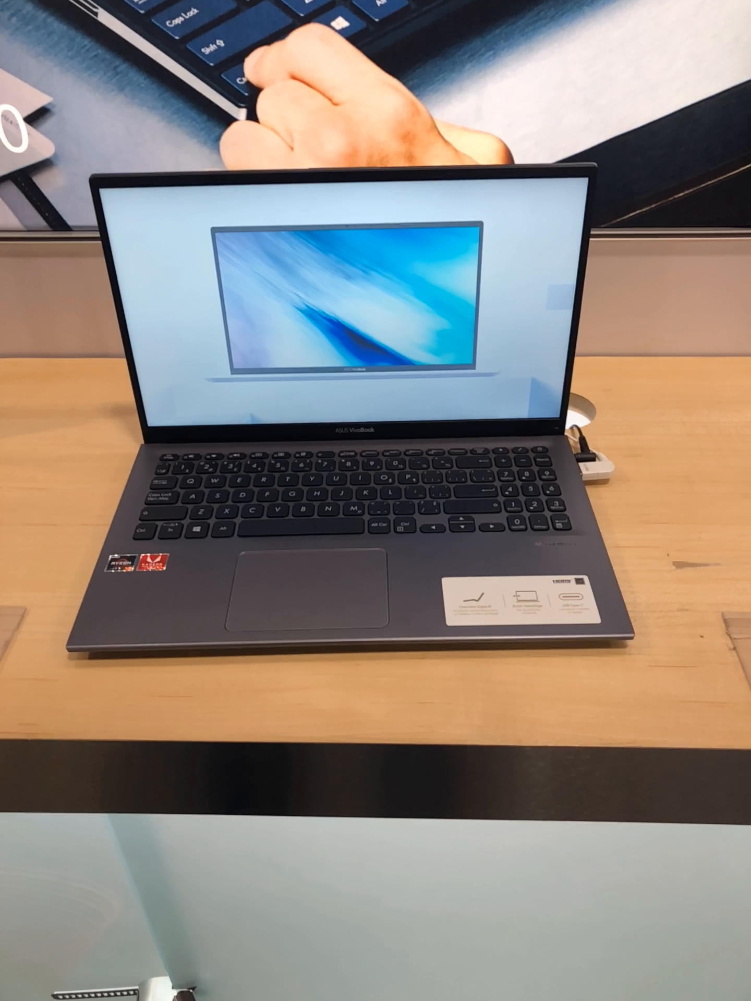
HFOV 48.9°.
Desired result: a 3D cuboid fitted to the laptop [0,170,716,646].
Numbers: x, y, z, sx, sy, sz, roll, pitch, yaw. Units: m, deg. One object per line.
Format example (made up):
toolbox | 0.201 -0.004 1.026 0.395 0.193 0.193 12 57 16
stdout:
laptop | -0.019 -0.068 0.539 0.349 0.211 0.243 -1 38 1
